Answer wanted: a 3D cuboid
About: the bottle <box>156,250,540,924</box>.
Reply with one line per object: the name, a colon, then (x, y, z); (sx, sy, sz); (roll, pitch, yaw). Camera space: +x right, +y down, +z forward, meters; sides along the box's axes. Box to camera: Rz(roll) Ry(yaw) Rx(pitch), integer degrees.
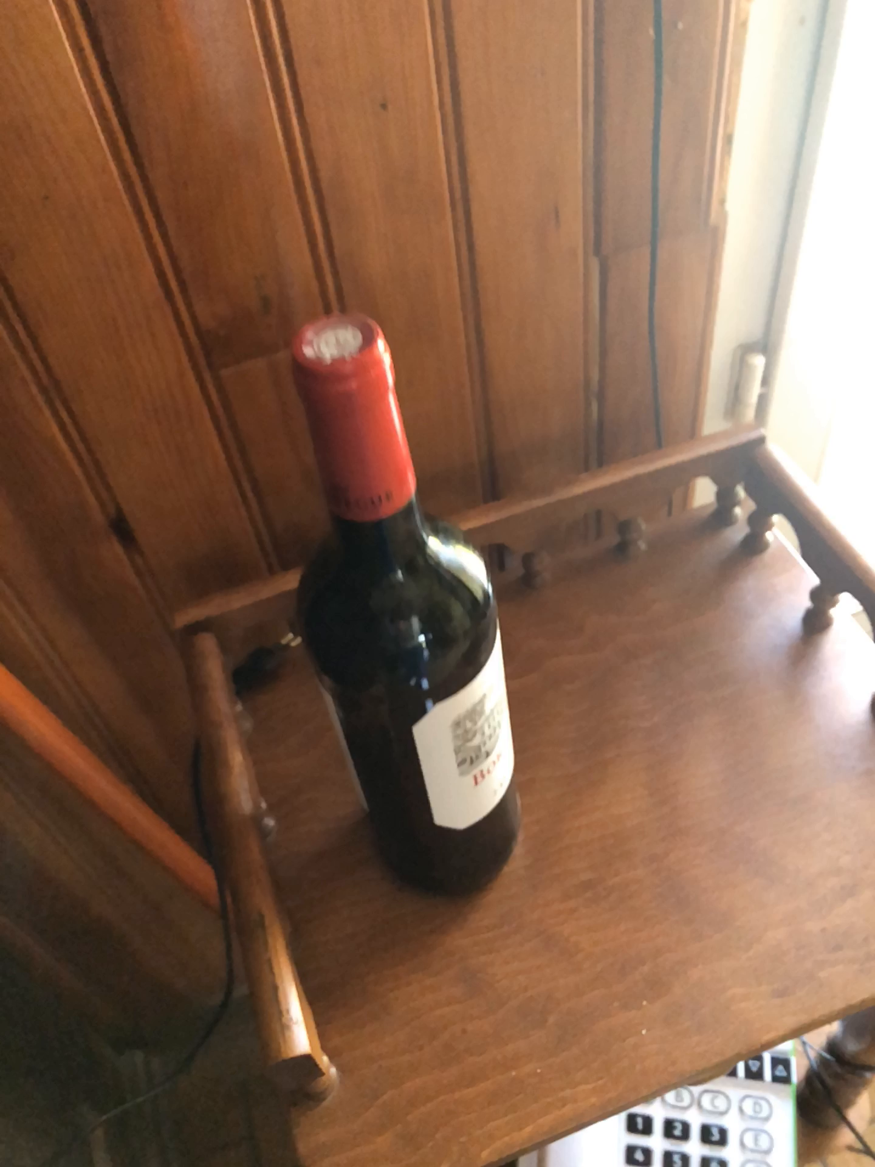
bottle: (-0.011, 0.029, 0.397); (0.080, 0.308, 0.080); (-4, 49, 4)
